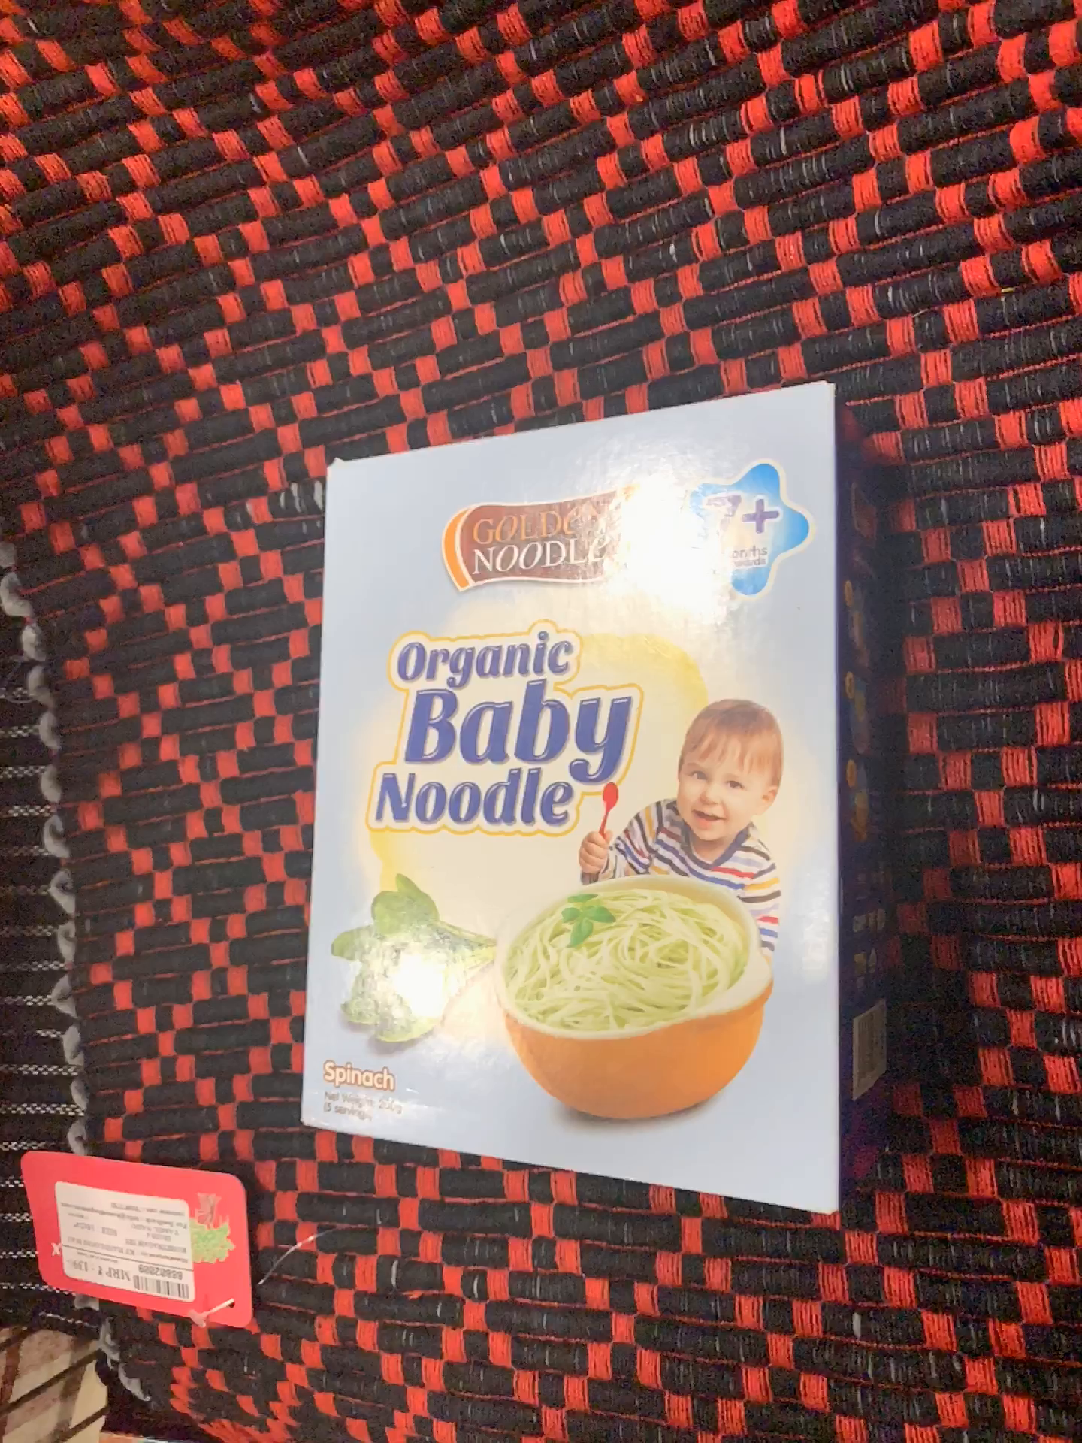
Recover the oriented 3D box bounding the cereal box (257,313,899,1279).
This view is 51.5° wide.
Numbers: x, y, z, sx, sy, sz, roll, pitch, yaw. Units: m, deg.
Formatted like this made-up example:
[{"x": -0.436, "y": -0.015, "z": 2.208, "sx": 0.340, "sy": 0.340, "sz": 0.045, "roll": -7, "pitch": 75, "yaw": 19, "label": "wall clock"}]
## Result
[{"x": 0.006, "y": 0.014, "z": 0.250, "sx": 0.131, "sy": 0.050, "sz": 0.170, "roll": -2, "pitch": 85, "yaw": 27, "label": "cereal box"}]
